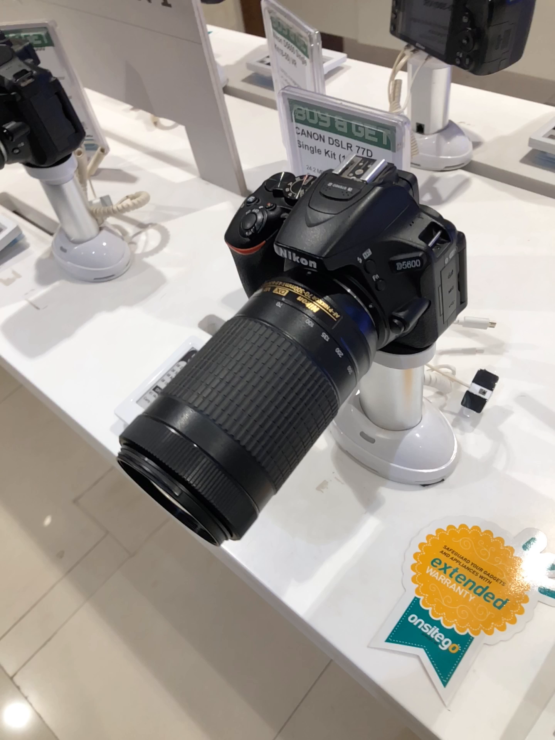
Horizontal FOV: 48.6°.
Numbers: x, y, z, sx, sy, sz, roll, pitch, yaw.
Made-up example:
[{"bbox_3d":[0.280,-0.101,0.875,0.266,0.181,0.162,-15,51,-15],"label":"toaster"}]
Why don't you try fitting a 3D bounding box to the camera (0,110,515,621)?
[{"bbox_3d":[-0.006,-0.020,0.295,0.140,0.089,0.201,29,60,30],"label":"camera"}]
